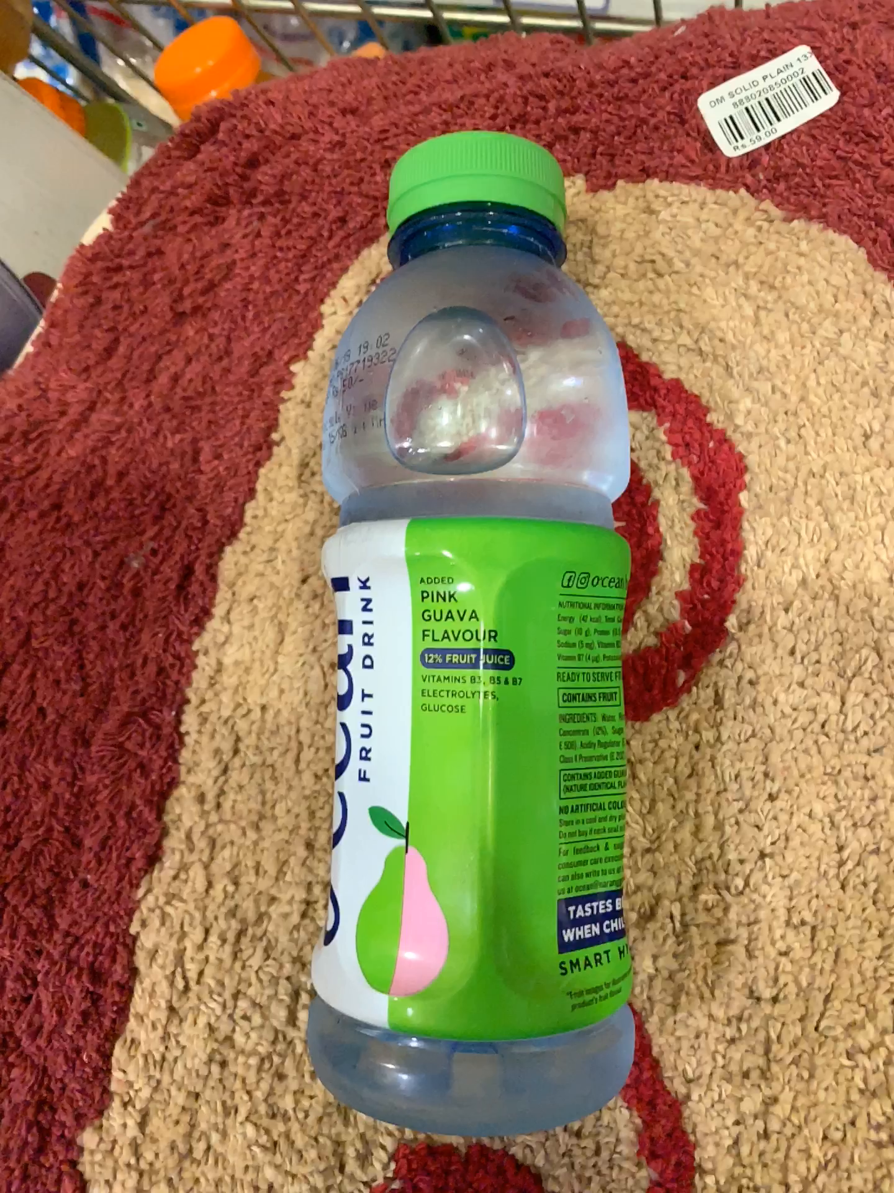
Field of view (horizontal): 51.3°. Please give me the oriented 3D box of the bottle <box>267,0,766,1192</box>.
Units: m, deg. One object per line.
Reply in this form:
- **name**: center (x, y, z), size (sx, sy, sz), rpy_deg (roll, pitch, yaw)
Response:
- **bottle**: center (0.017, -0.004, 0.201), size (0.080, 0.070, 0.210), rpy_deg (-2, 86, 33)
